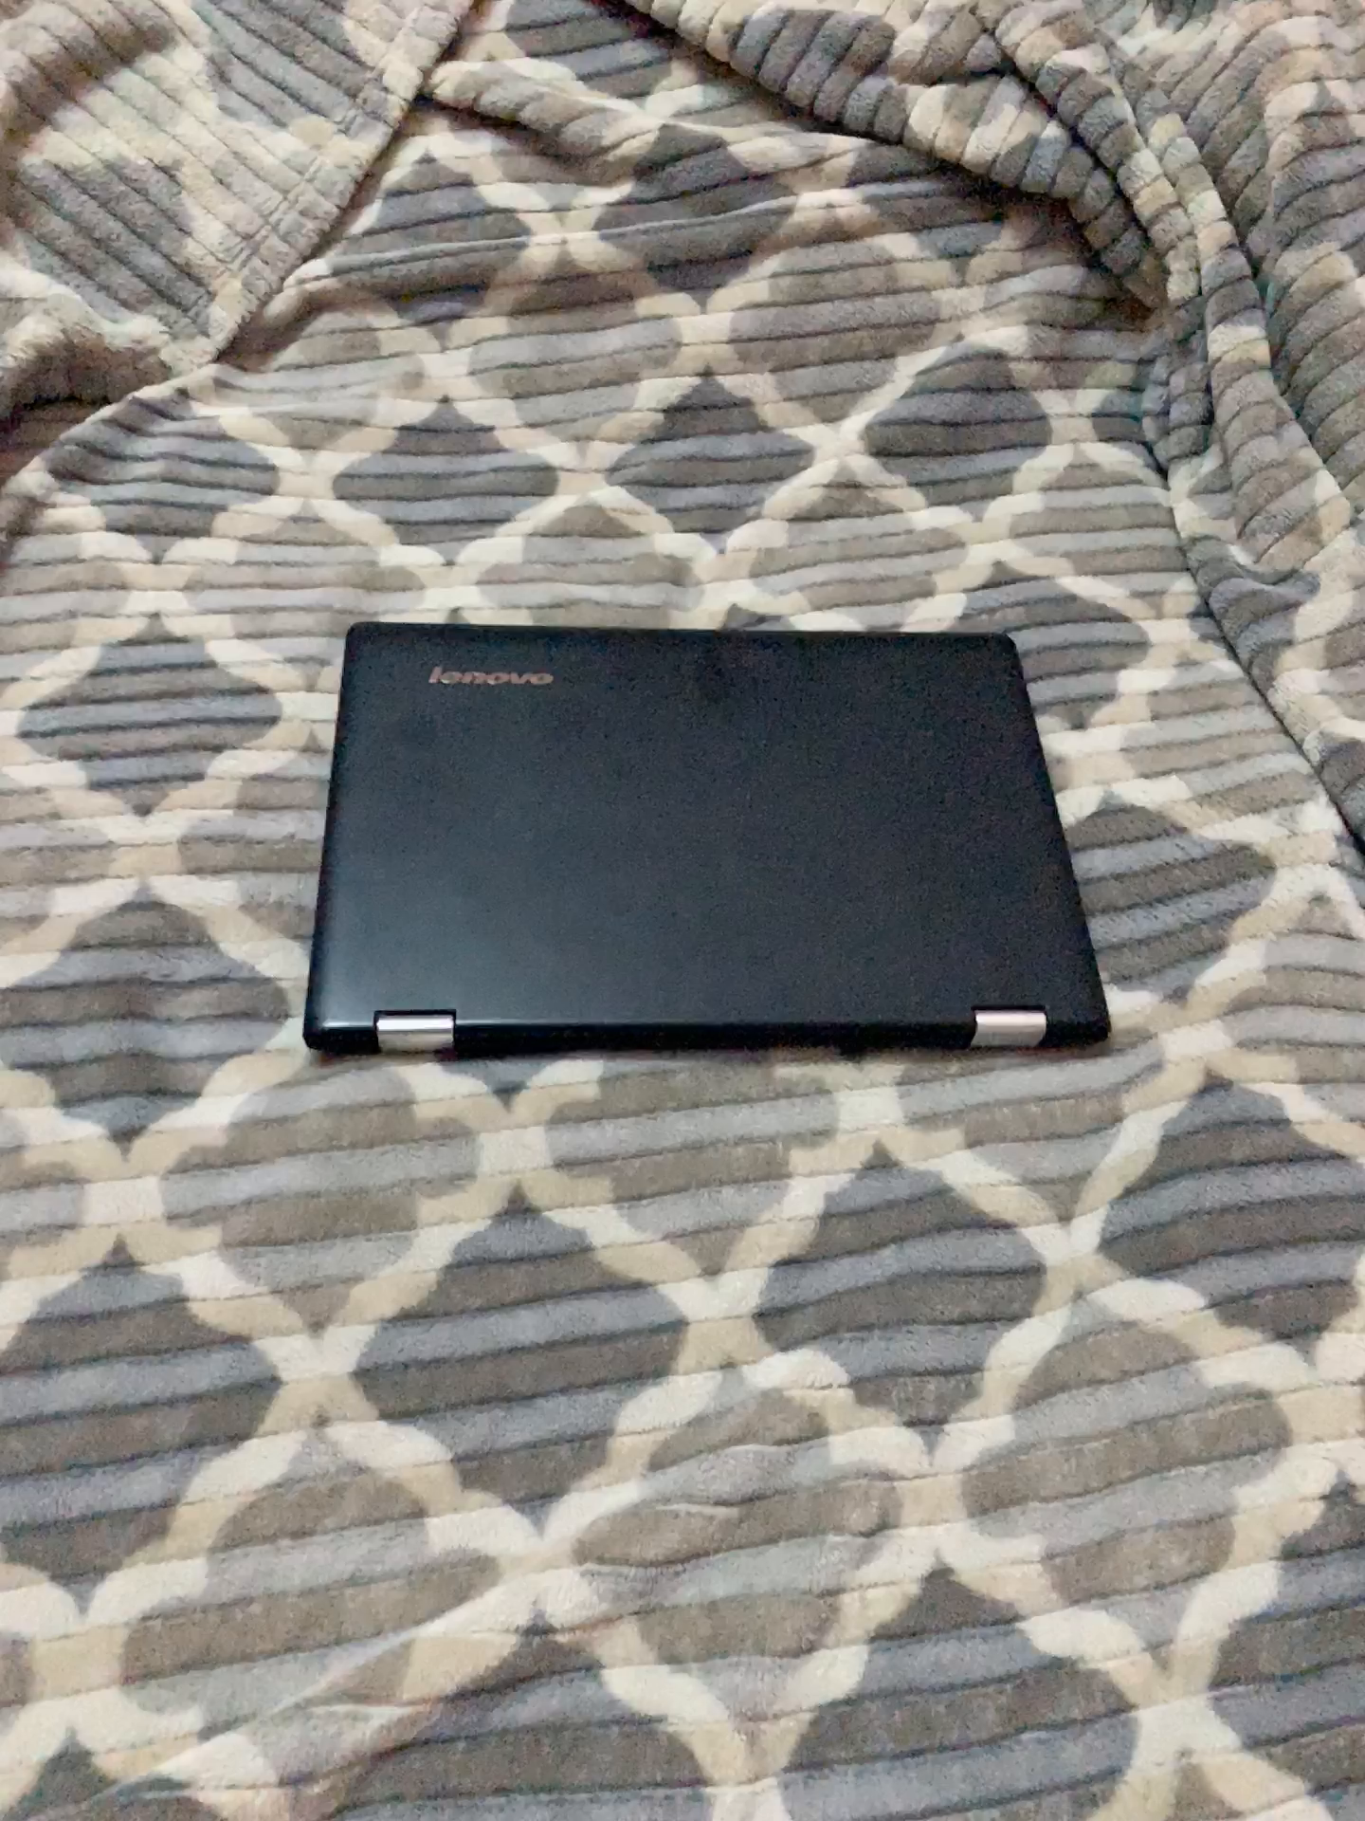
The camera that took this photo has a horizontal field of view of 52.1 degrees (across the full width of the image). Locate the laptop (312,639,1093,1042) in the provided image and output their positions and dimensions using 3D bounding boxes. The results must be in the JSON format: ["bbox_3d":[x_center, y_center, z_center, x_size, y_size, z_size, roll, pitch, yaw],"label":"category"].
[{"bbox_3d":[0.009,-0.041,0.665,0.338,0.003,0.228,0,57,-6],"label":"laptop"}]
